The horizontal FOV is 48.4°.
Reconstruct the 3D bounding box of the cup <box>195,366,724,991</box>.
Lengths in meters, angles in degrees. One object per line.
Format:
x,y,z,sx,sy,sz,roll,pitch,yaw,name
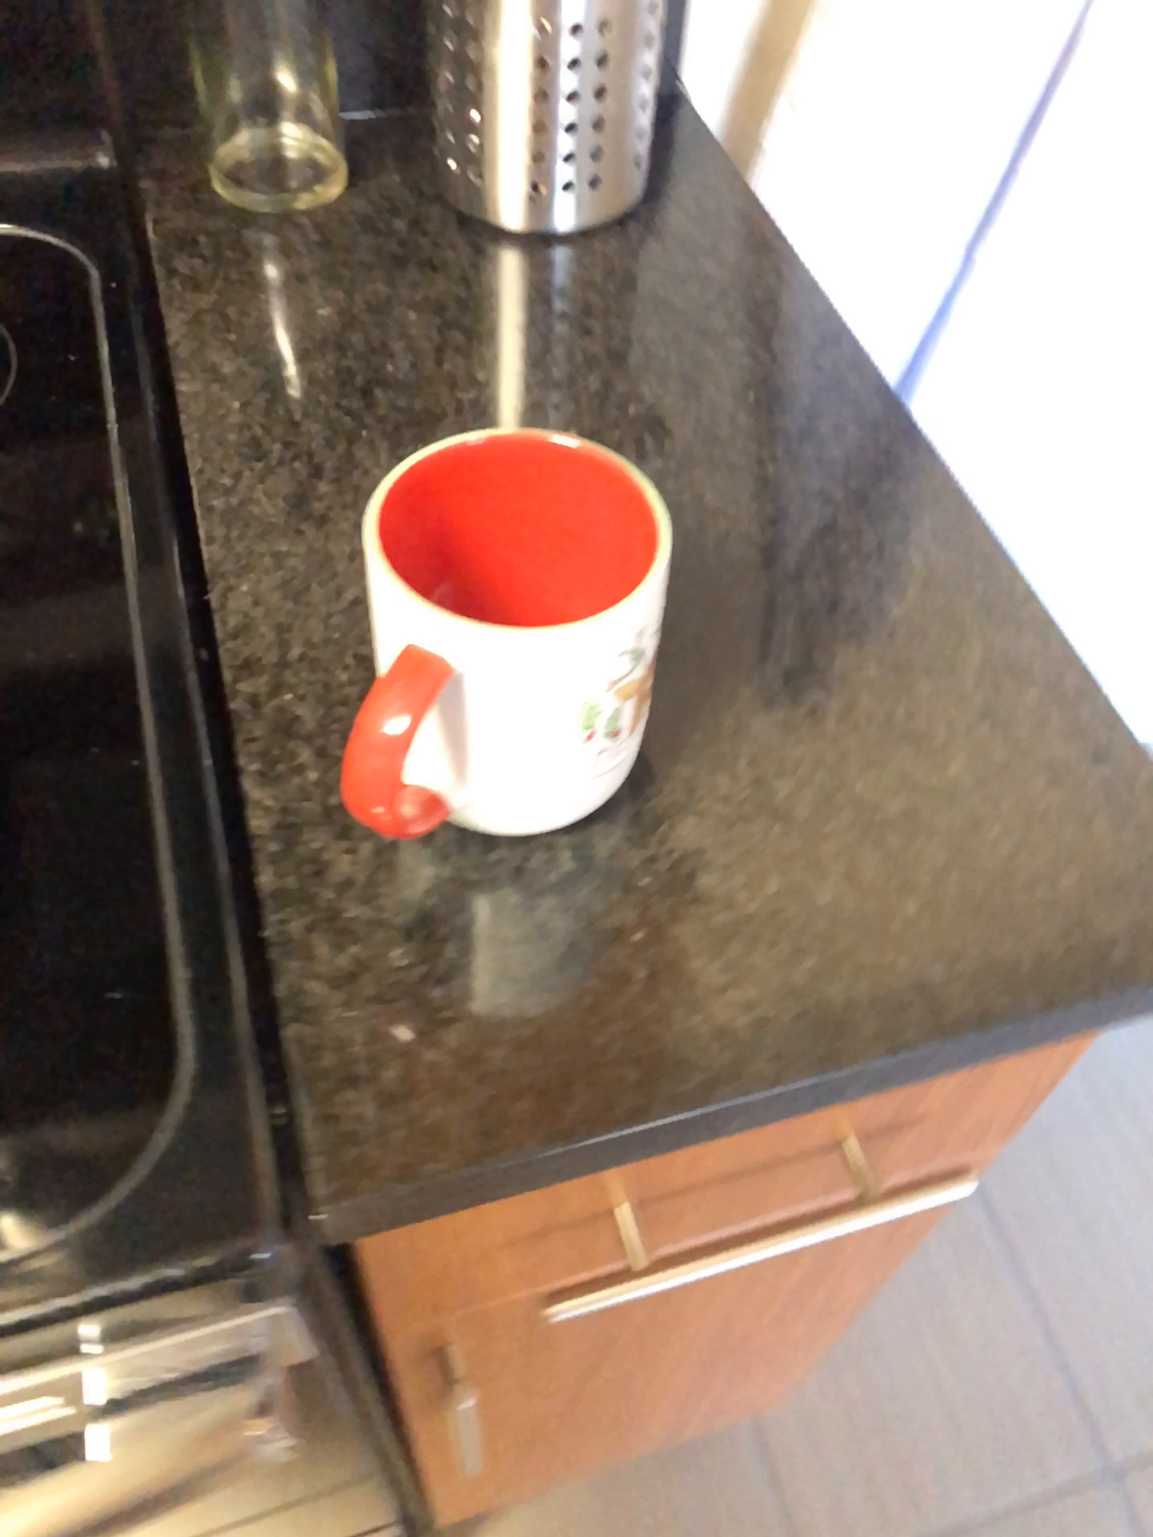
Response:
-0.030,-0.029,0.392,0.090,0.110,0.130,24,54,14,cup
